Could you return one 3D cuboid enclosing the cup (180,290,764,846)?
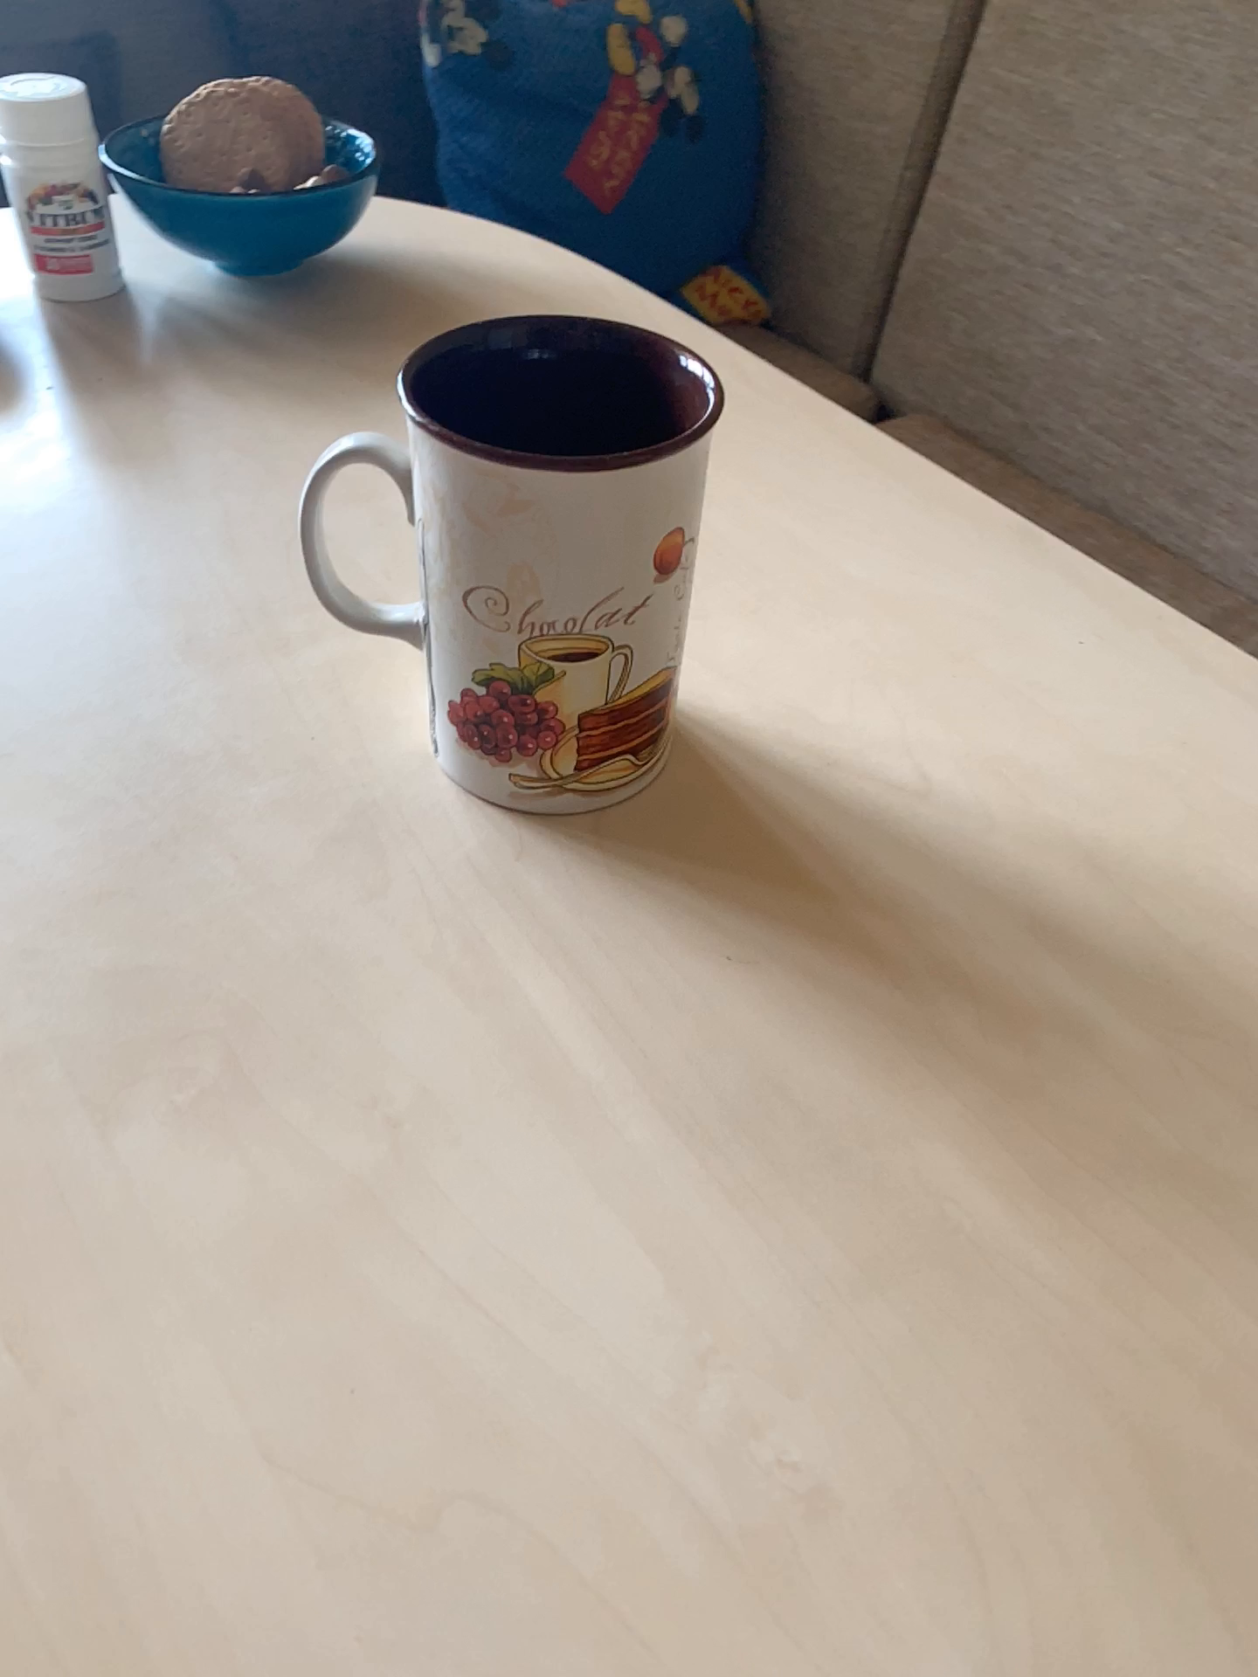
[{"bbox_3d":[-0.036,-0.074,0.358,0.130,0.110,0.090,5,43,0],"label":"cup"}]
